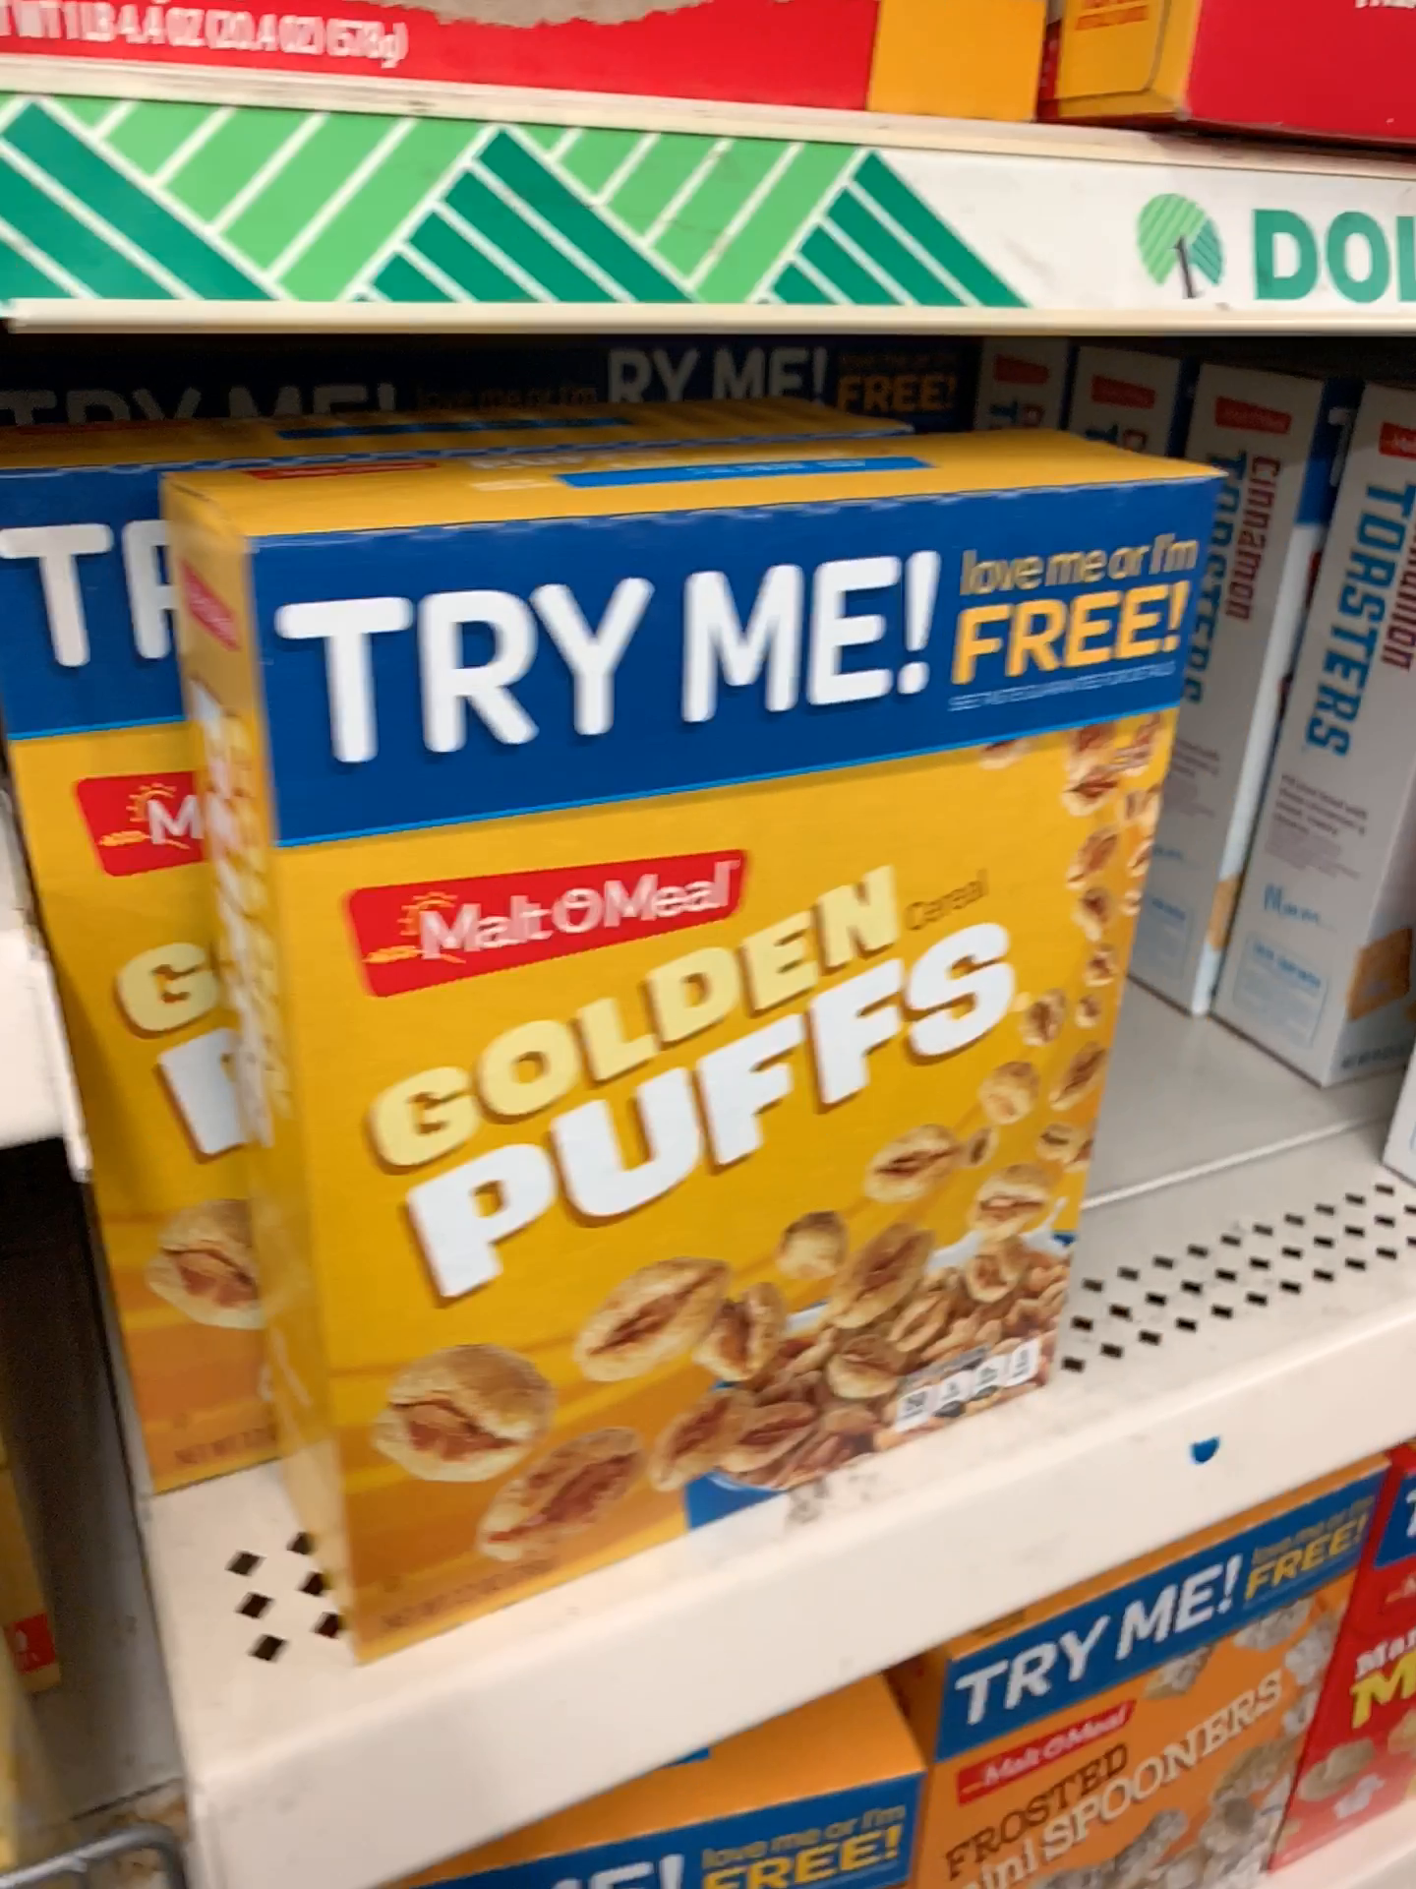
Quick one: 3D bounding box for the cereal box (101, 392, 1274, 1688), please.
[{"bbox_3d":[0.001,0.012,0.295,0.190,0.219,0.060,-12,30,-26],"label":"cereal box"}]
